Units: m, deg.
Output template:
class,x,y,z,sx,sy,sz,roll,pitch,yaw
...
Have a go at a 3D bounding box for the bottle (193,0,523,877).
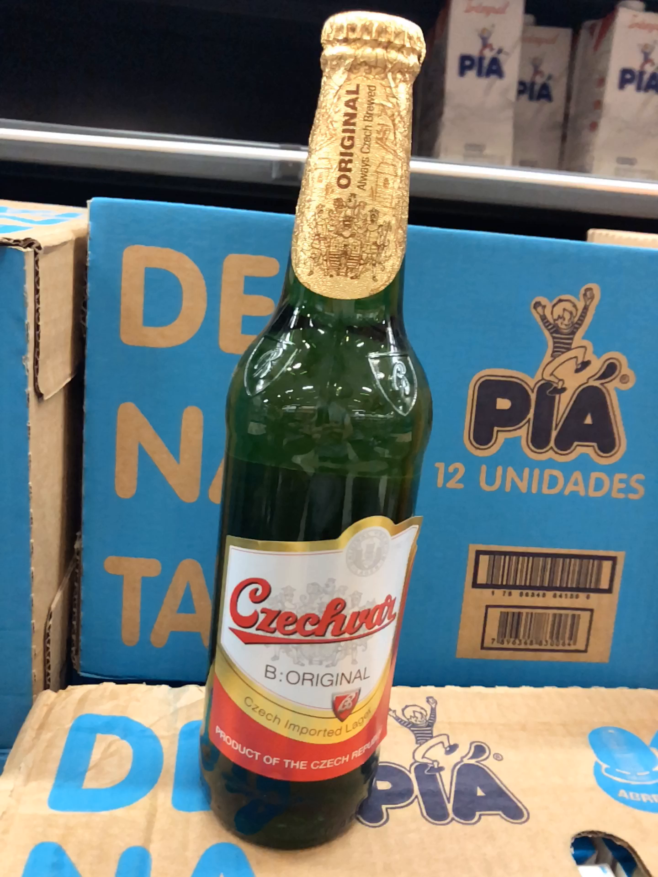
class,x,y,z,sx,sy,sz,roll,pitch,yaw
bottle,-0.002,0.000,0.243,0.070,0.269,0.070,4,12,-1
